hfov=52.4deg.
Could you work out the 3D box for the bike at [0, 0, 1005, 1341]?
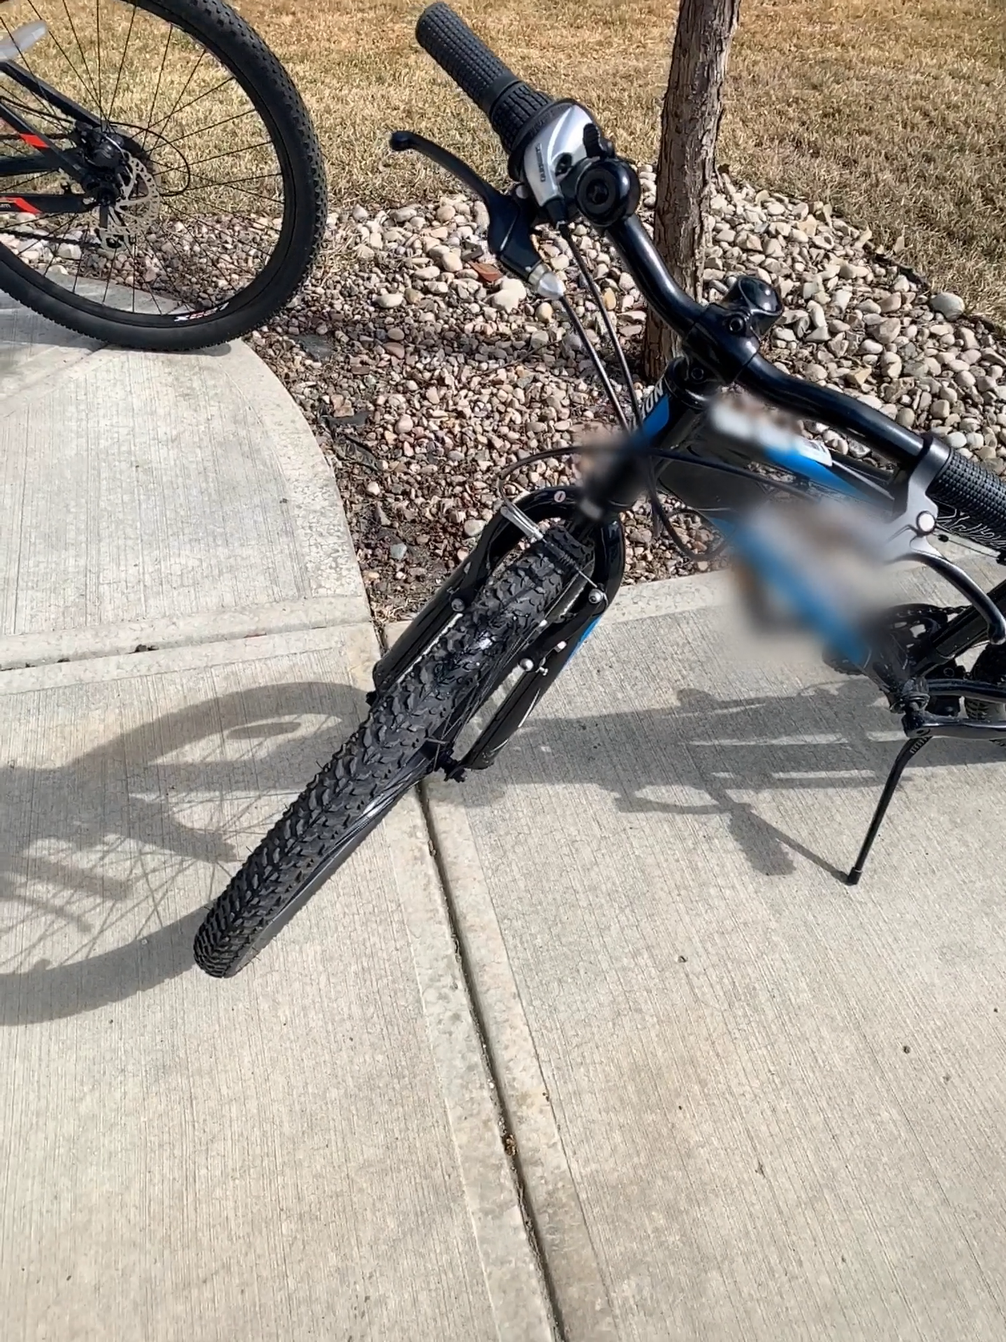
[{"bbox_3d":[0.402,0.032,0.907,1.389,0.886,0.516,-14,50,-6],"label":"bike"}]
